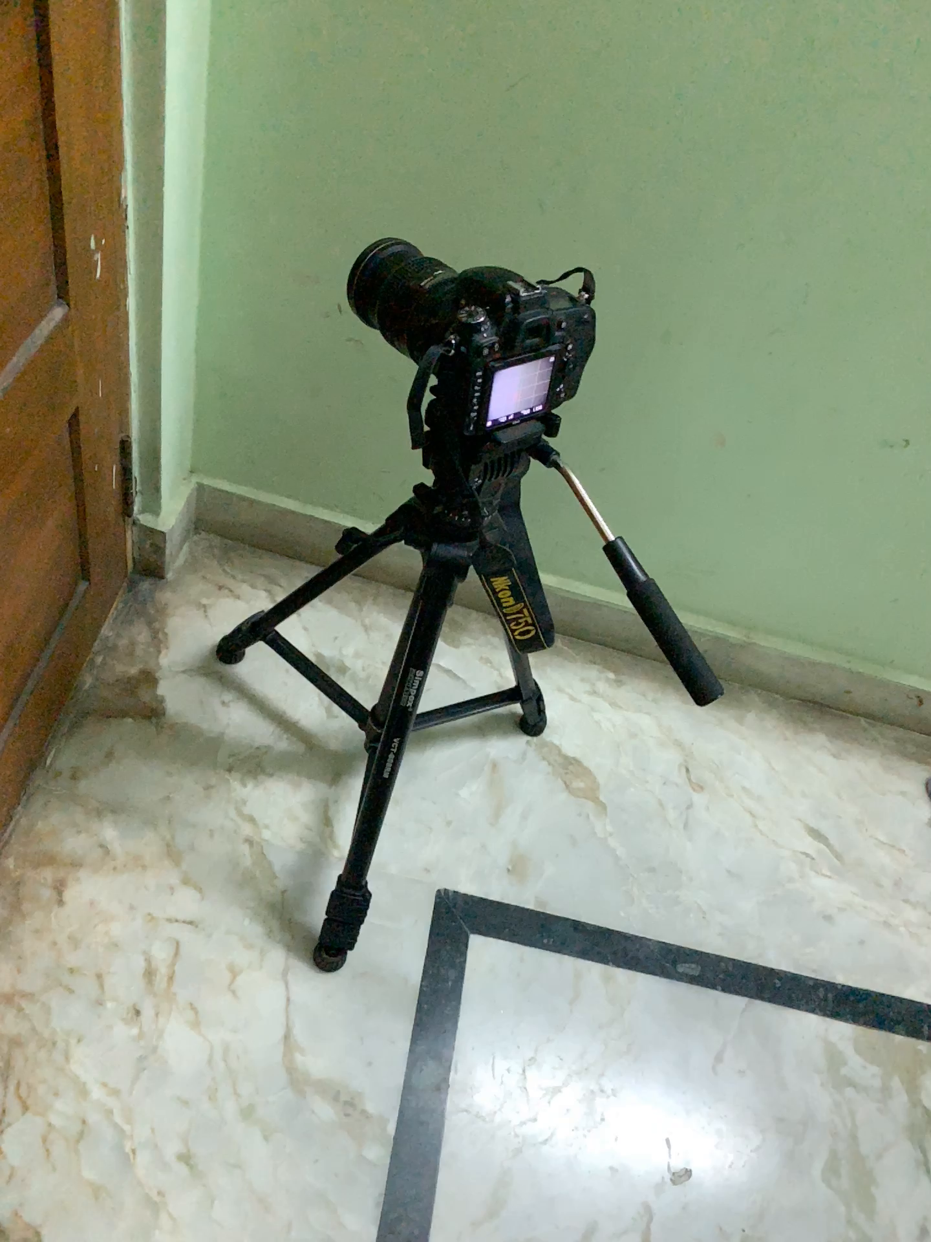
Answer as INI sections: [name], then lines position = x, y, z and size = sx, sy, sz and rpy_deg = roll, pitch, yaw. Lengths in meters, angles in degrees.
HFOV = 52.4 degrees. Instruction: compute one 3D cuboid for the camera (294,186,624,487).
[camera]
position = -0.012, -0.246, 0.799
size = 0.175, 0.128, 0.189
rpy_deg = -27, 64, -34
